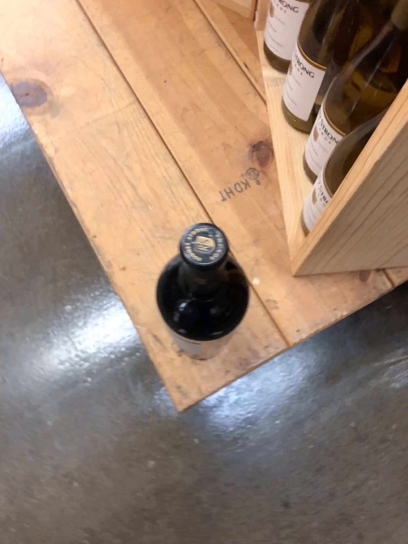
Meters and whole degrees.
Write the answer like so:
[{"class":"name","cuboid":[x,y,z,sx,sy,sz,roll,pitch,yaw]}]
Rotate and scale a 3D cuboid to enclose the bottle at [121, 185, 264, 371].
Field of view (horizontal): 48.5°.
[{"class":"bottle","cuboid":[-0.008,0.034,0.397,0.070,0.310,0.080,-6,75,-2]}]
